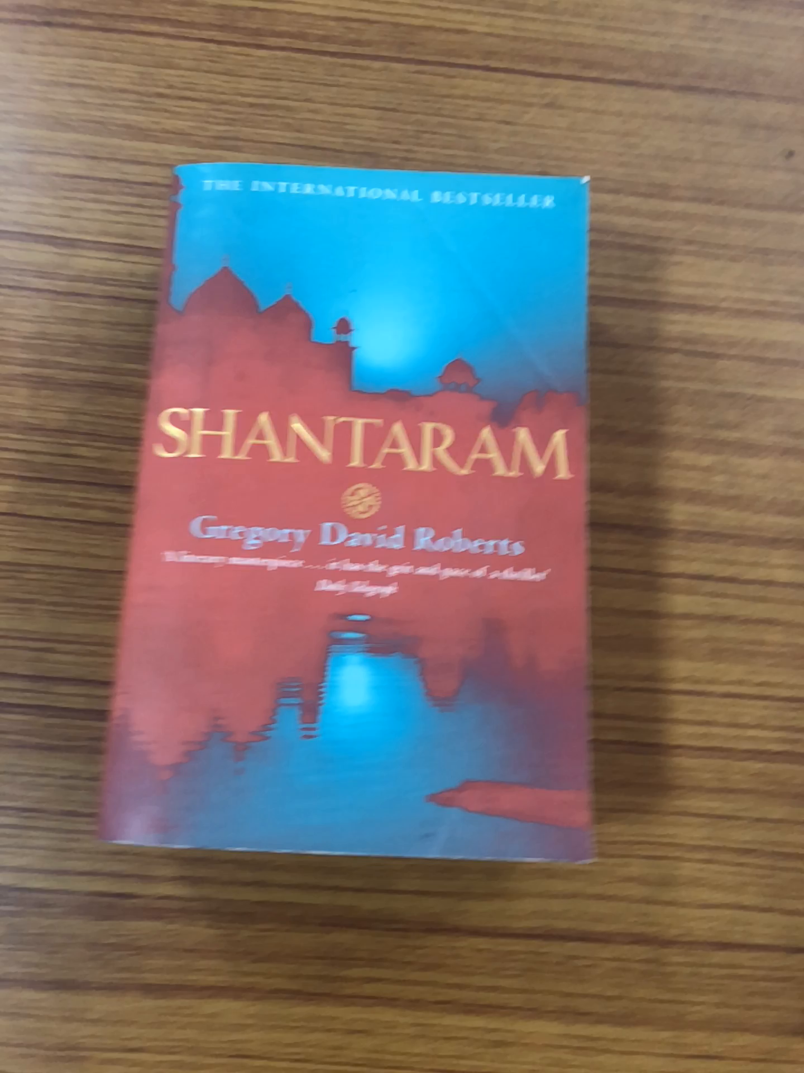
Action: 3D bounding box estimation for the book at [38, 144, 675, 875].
[{"bbox_3d":[-0.008,-0.009,0.258,0.150,0.050,0.190,2,77,-3],"label":"book"}]
